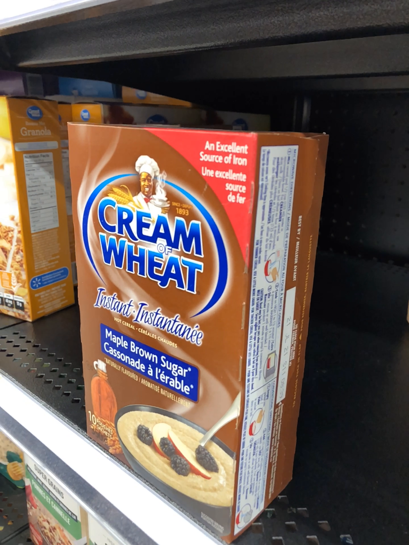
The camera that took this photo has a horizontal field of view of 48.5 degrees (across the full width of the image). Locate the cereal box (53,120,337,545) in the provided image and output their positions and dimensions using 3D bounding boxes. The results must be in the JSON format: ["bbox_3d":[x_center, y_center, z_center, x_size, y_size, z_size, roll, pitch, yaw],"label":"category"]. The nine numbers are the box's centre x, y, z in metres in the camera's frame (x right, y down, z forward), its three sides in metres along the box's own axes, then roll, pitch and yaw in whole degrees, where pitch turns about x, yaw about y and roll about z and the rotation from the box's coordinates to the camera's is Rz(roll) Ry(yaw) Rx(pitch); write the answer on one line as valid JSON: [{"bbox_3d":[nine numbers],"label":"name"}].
[{"bbox_3d":[-0.012,0.027,0.251,0.130,0.209,0.060,16,24,39],"label":"cereal box"}]
